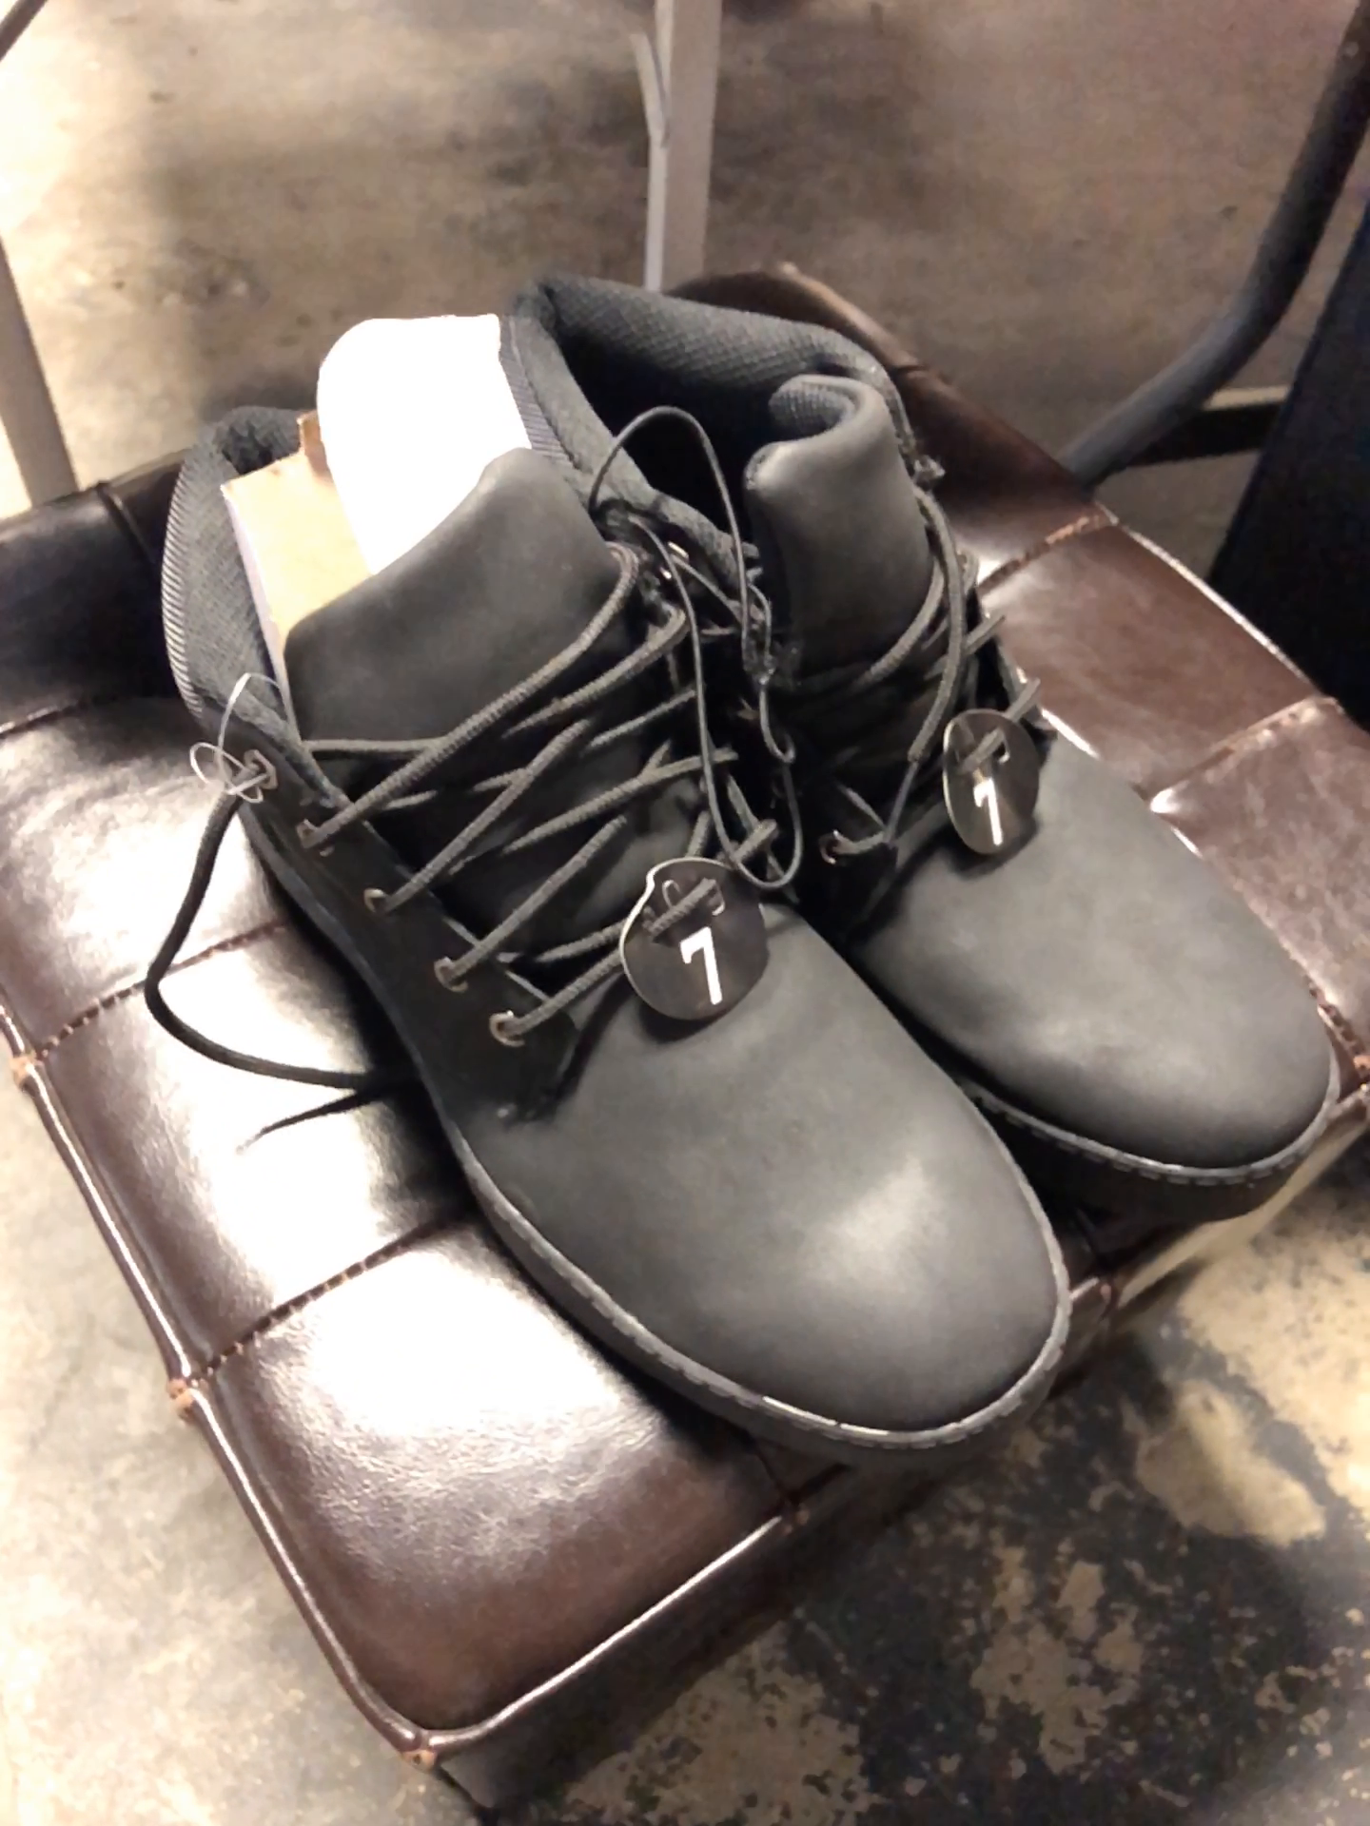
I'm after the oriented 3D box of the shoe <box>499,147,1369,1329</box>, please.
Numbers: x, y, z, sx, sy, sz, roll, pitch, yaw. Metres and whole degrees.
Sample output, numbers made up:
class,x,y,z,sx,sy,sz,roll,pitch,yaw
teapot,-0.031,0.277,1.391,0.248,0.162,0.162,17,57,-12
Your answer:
class,x,y,z,sx,sy,sz,roll,pitch,yaw
shoe,0.069,-0.042,0.347,0.100,0.139,0.221,-37,66,-26

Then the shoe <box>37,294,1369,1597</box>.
class,x,y,z,sx,sy,sz,roll,pitch,yaw
shoe,-0.013,0.002,0.346,0.100,0.139,0.261,-37,66,-26
